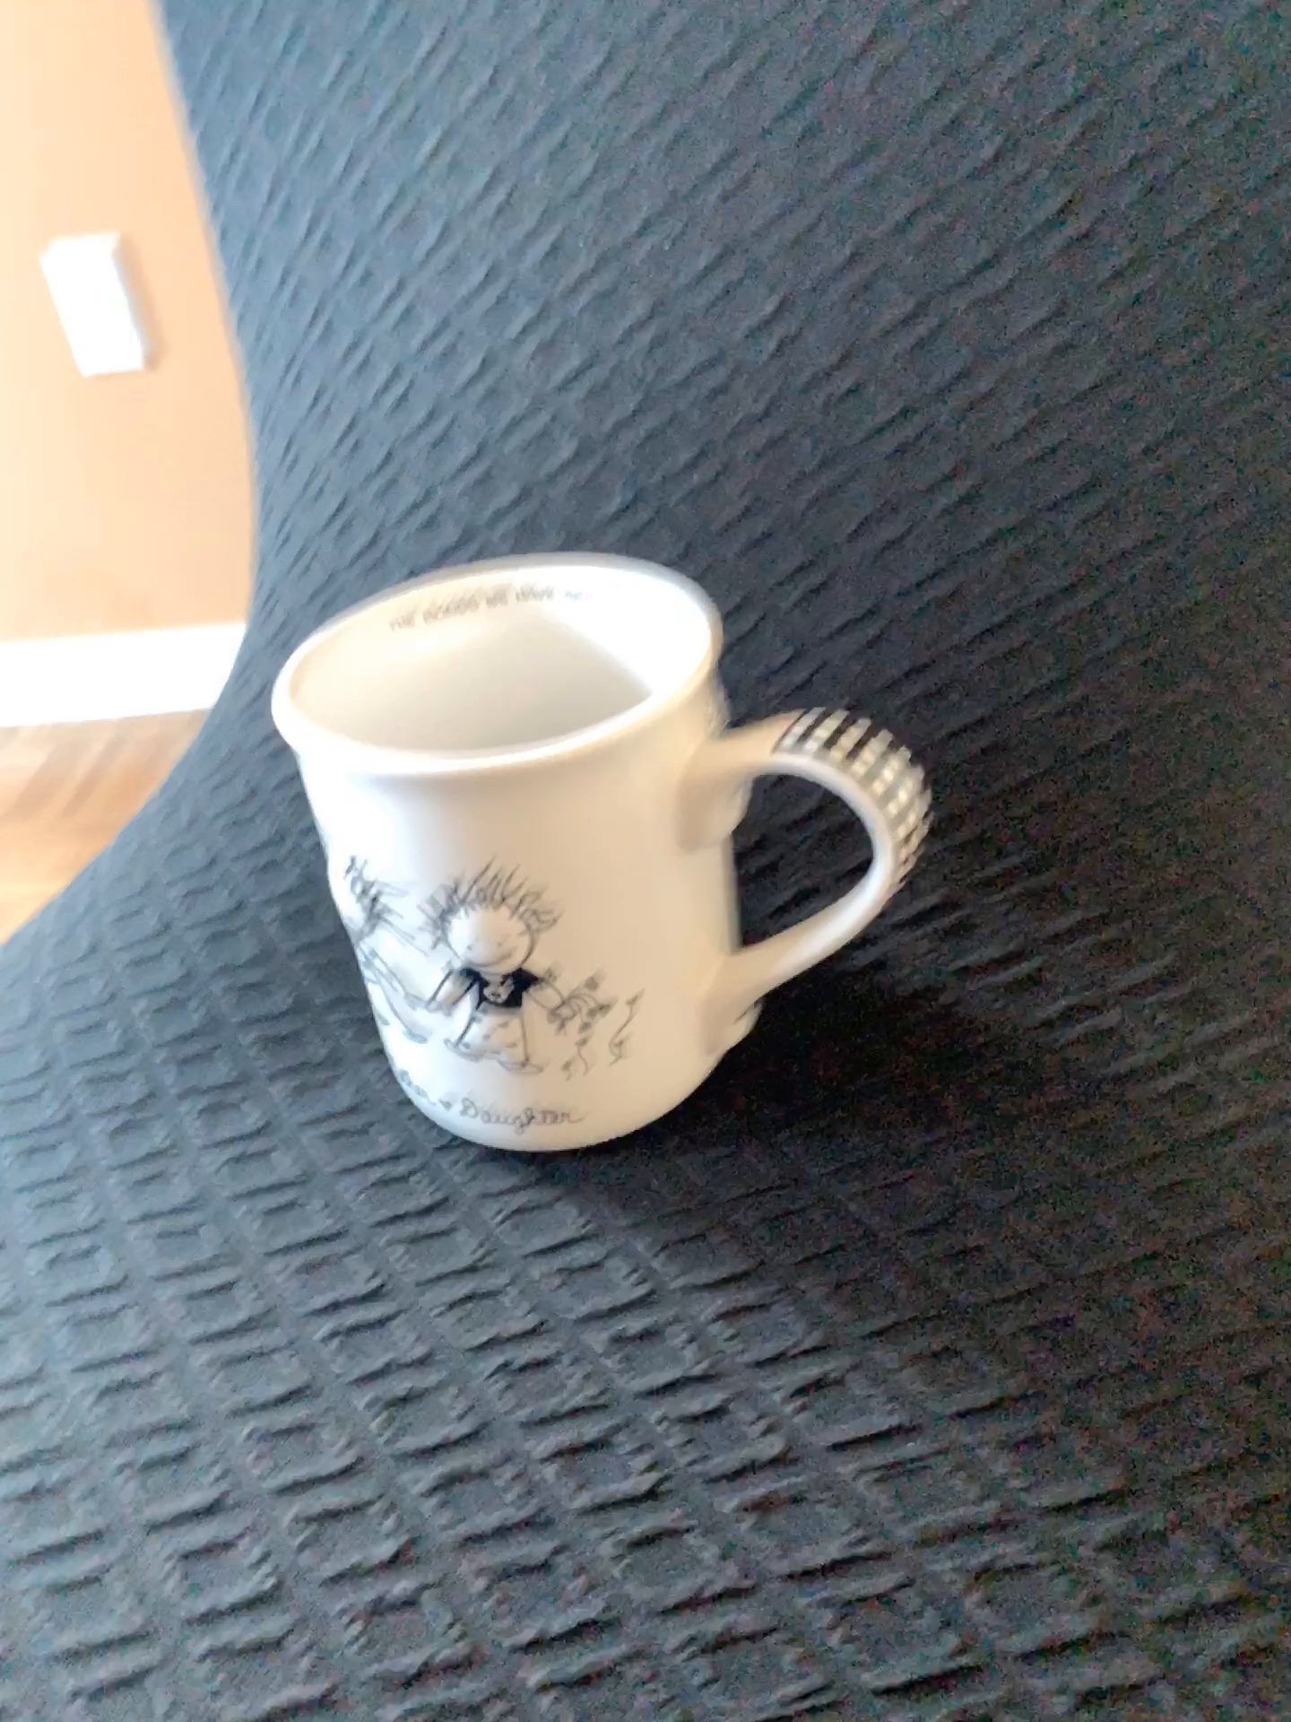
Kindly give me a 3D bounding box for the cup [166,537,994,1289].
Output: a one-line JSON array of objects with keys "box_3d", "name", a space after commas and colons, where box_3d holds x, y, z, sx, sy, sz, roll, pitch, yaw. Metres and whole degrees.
[{"box_3d": [-0.004, 0.003, 0.305, 0.140, 0.110, 0.100, 10, 41, 25], "name": "cup"}]
